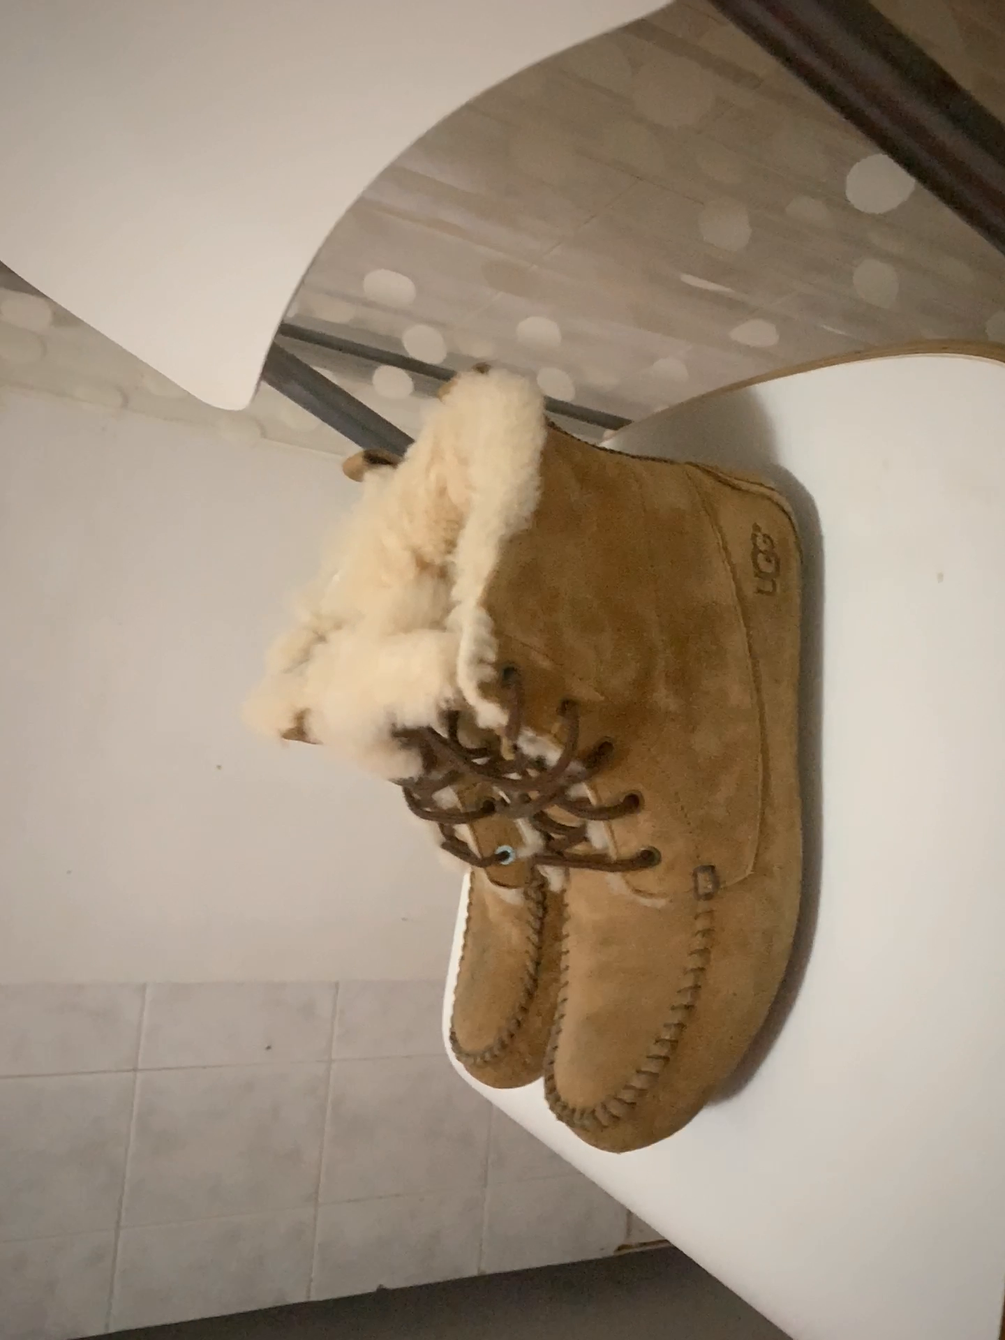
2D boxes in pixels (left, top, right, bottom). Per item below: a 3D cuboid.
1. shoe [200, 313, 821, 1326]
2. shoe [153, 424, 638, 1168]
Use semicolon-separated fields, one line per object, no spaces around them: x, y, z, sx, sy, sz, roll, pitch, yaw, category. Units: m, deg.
0.004;0.044;0.343;0.114;0.156;0.251;-13;72;62;shoe
-0.043;0.051;0.431;0.107;0.155;0.251;-13;72;62;shoe
